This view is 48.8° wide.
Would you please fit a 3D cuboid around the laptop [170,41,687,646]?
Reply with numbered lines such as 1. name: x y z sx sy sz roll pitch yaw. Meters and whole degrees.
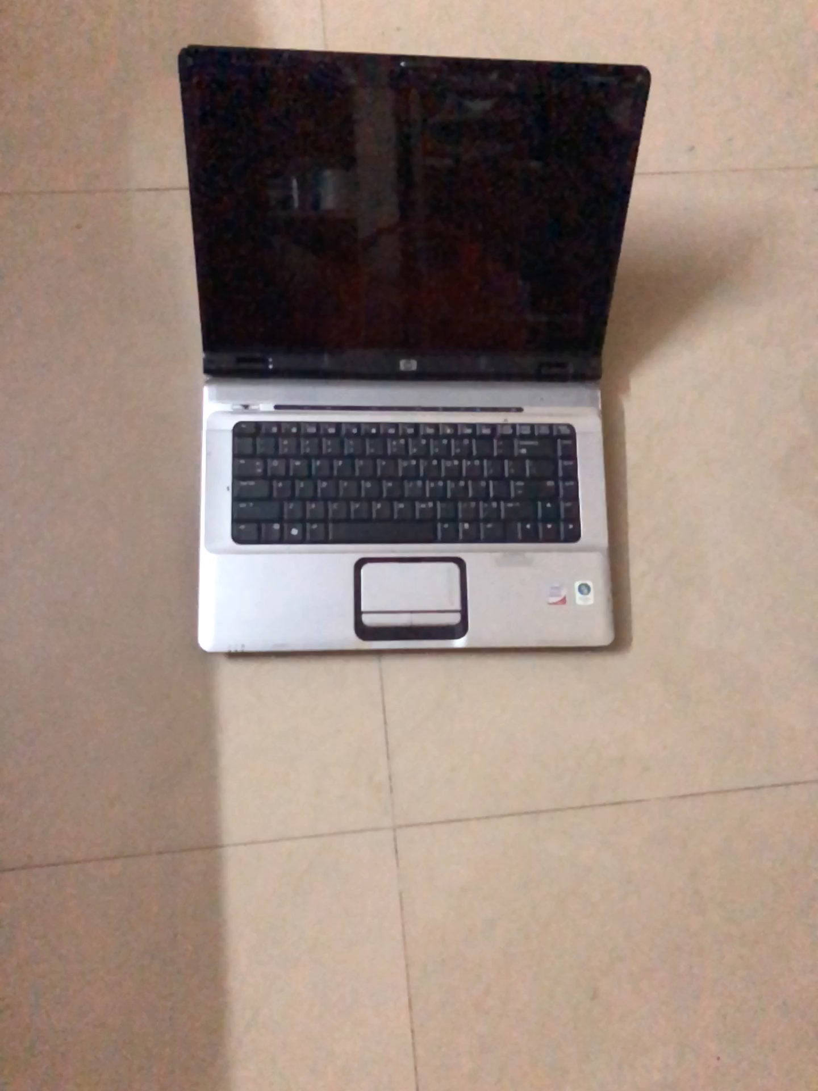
1. laptop: 0.007 -0.137 0.700 0.338 0.167 0.409 0 80 -6
